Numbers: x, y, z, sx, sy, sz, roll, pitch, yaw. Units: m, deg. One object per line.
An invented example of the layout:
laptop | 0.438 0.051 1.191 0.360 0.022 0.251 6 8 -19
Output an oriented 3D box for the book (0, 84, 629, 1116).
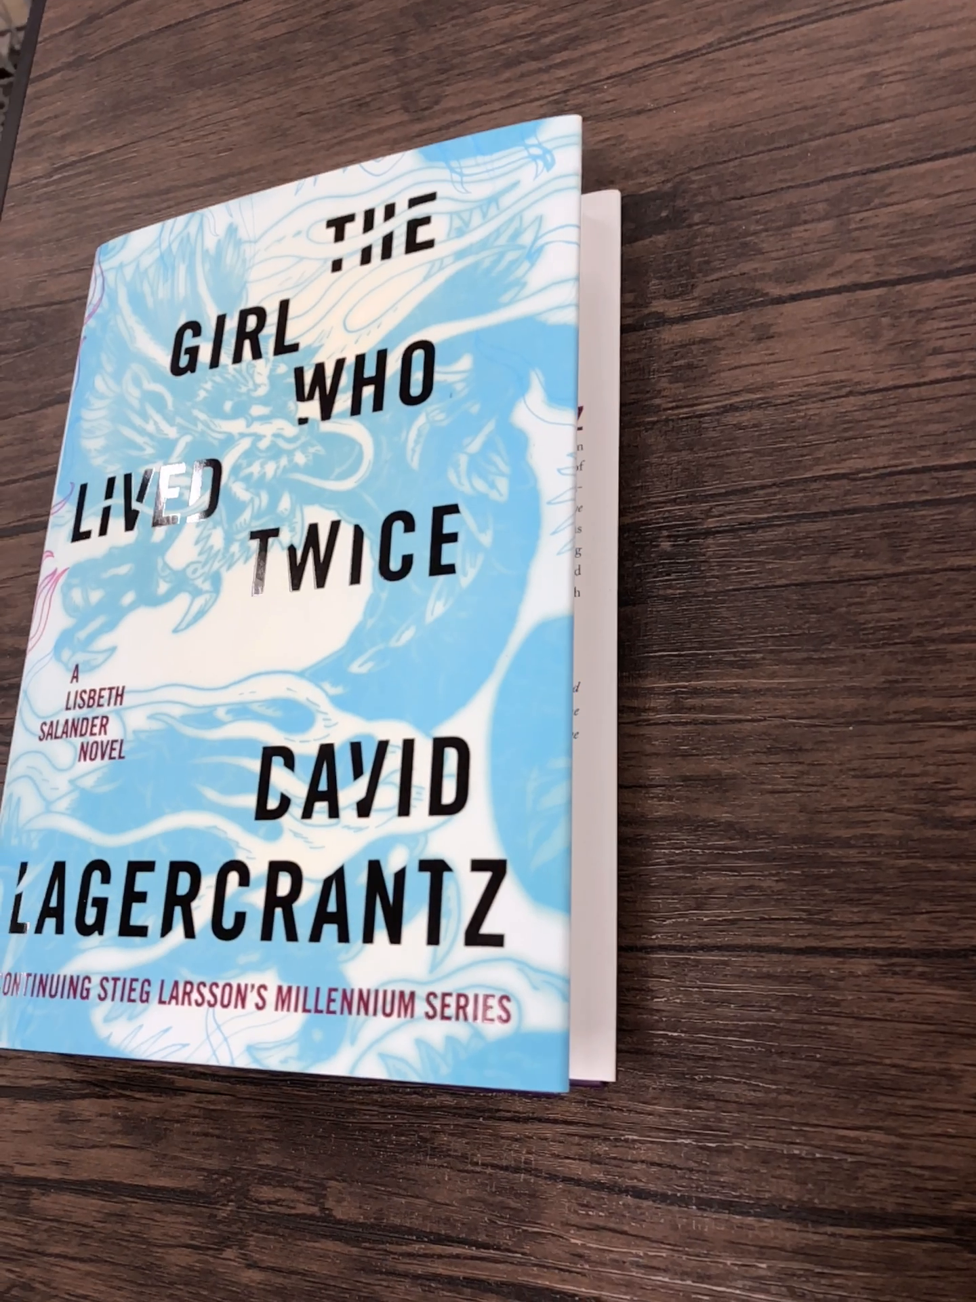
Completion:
book | -0.052 -0.016 0.288 0.170 0.040 0.240 -5 71 23
